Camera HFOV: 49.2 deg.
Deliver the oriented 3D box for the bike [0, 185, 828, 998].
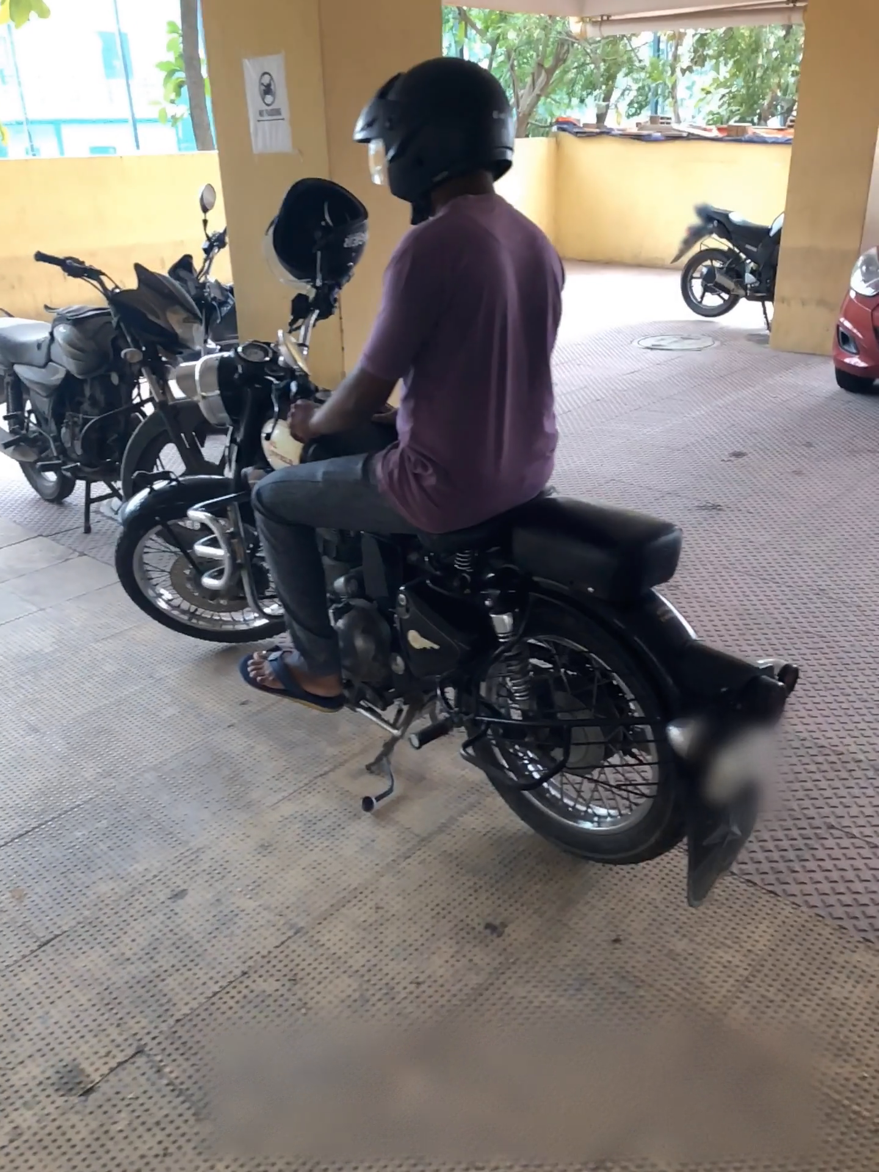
[{"bbox_3d":[-0.227,-0.172,2.193,1.764,1.097,0.728,22,33,31],"label":"bike"}]
